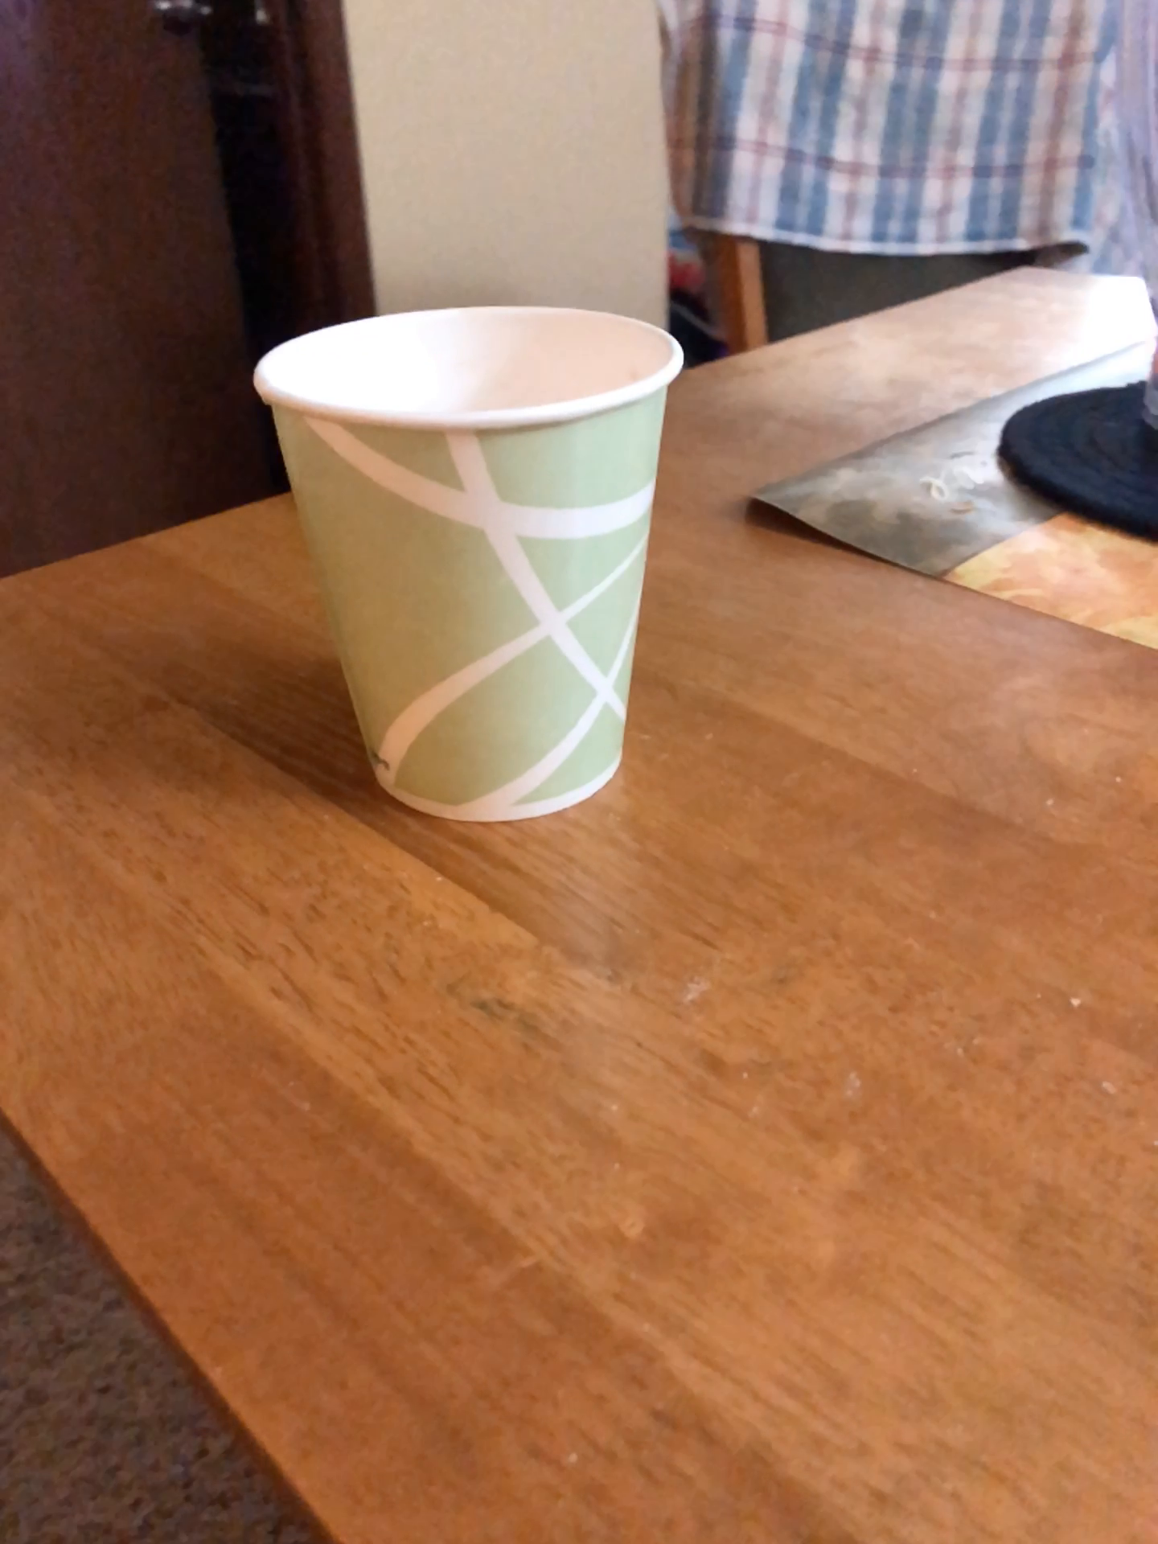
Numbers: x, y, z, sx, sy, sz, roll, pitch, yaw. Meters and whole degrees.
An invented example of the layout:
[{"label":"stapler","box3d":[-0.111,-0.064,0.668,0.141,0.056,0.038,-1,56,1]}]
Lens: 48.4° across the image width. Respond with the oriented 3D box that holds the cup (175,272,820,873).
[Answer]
[{"label":"cup","box3d":[-0.015,-0.053,0.292,0.100,0.090,0.090,-28,40,-36]}]
